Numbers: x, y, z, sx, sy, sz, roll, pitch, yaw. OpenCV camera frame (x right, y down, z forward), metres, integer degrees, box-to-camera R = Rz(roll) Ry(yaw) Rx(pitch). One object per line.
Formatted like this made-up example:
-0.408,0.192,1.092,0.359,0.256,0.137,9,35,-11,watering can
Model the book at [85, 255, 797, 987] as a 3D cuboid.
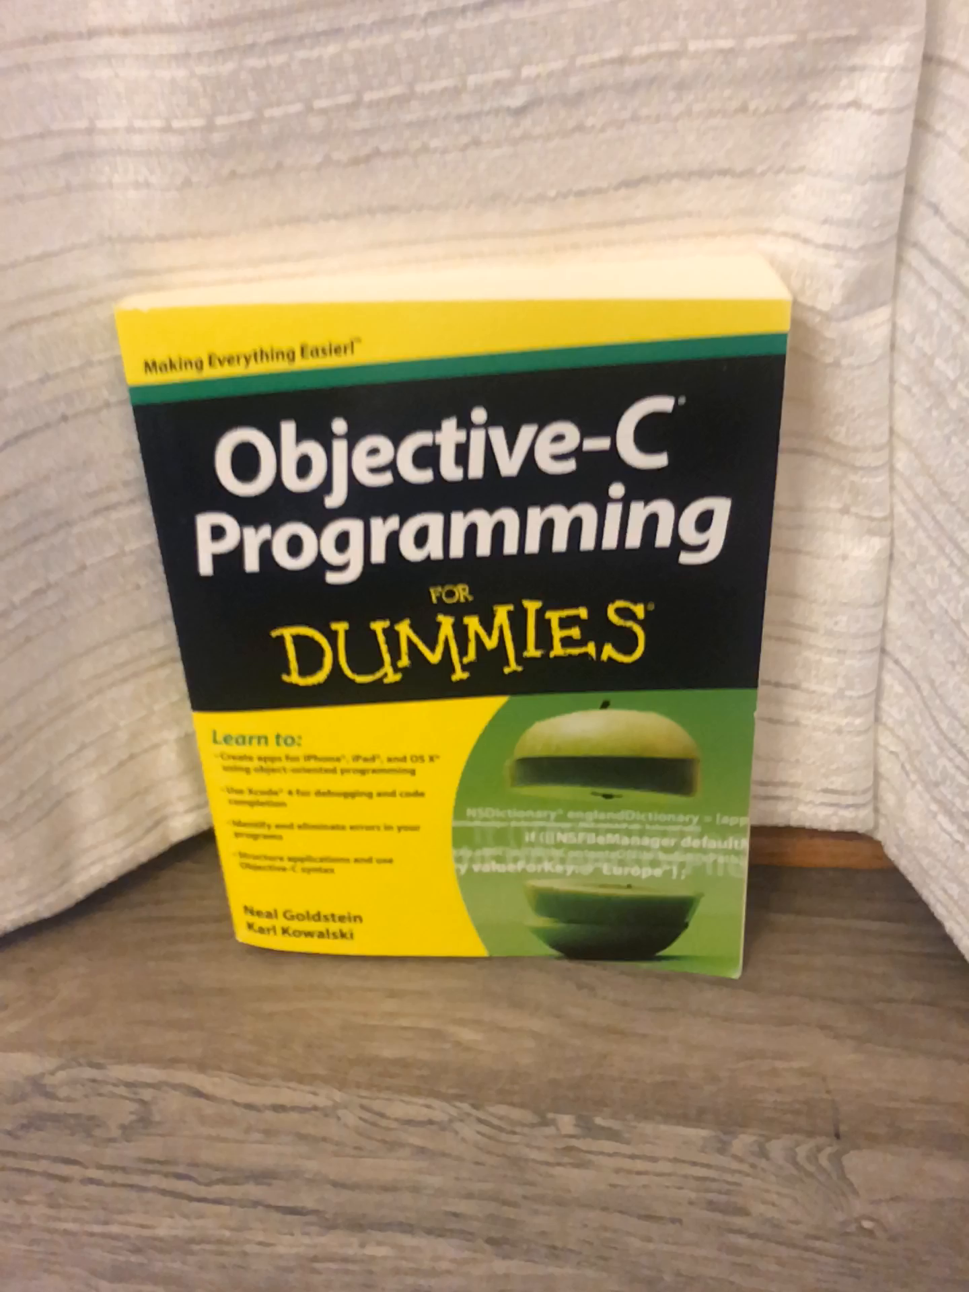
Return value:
-0.005,0.005,0.339,0.183,0.229,0.033,0,27,9,book
